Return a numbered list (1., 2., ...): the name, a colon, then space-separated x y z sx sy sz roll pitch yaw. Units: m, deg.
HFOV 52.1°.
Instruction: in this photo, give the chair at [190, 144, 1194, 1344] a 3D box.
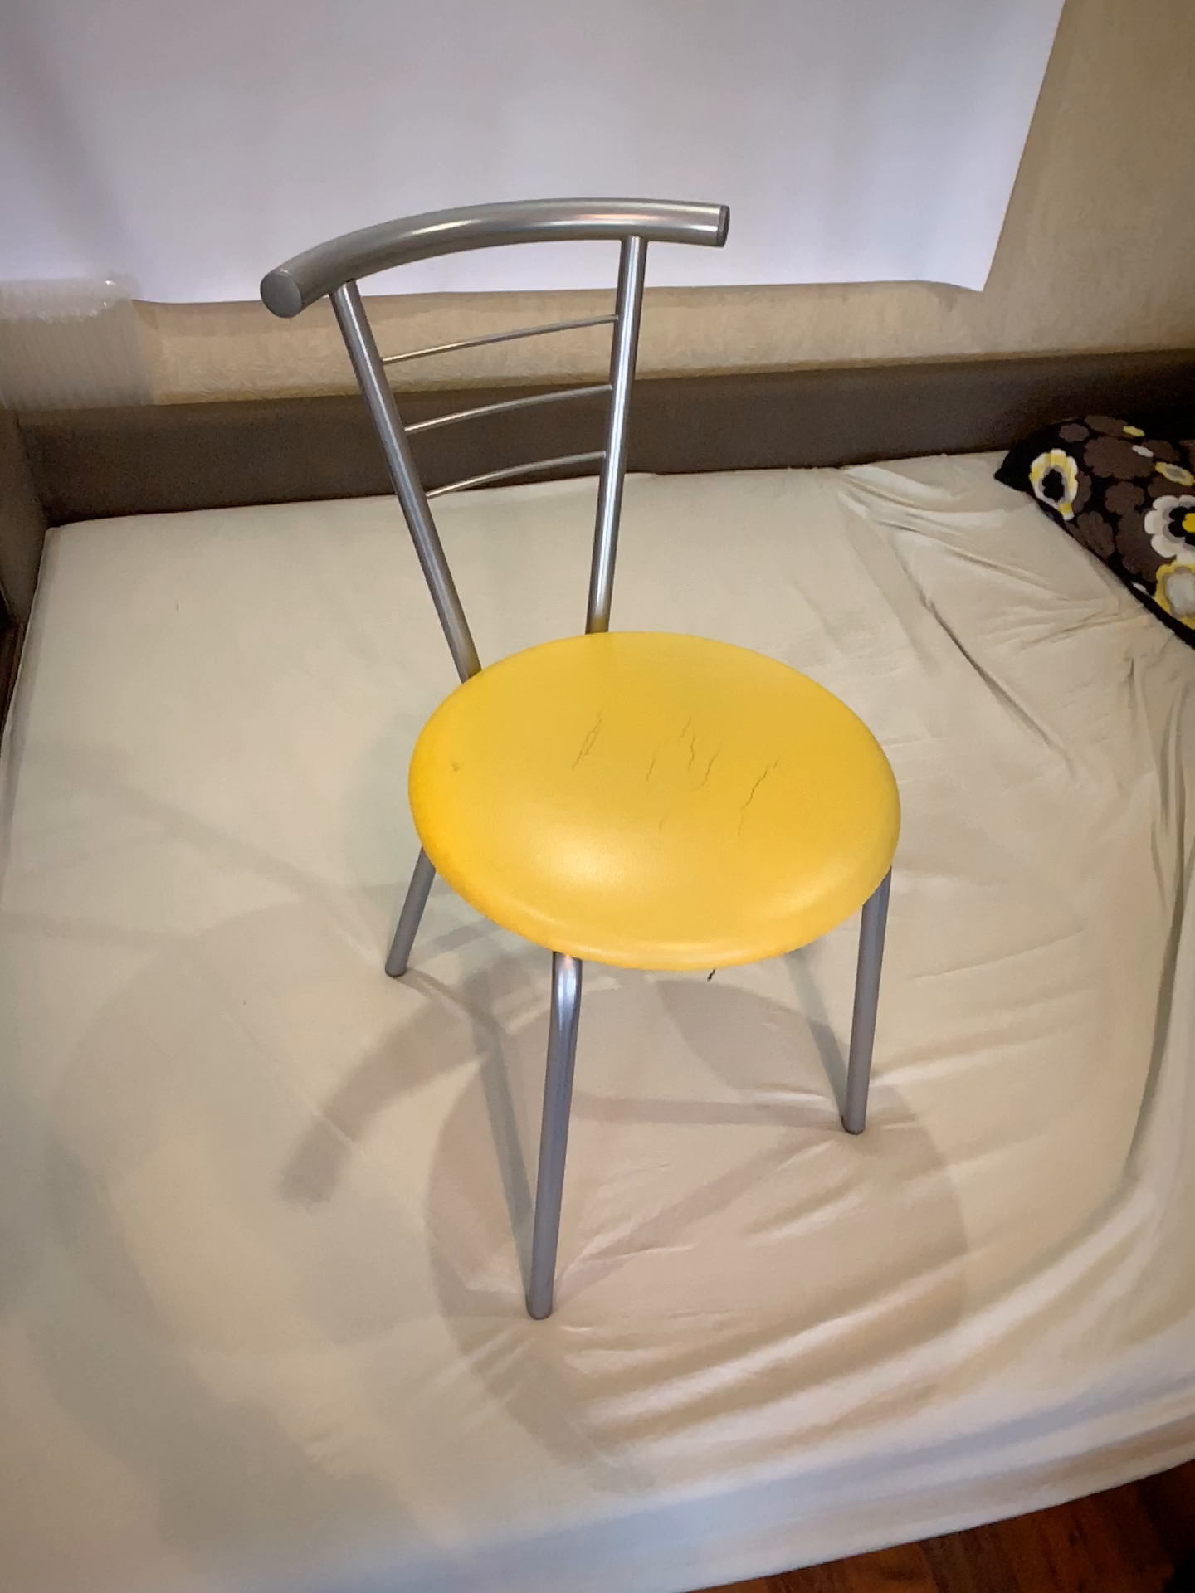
1. chair: 0.029 -0.036 1.031 0.461 0.763 0.503 -21 49 -24
